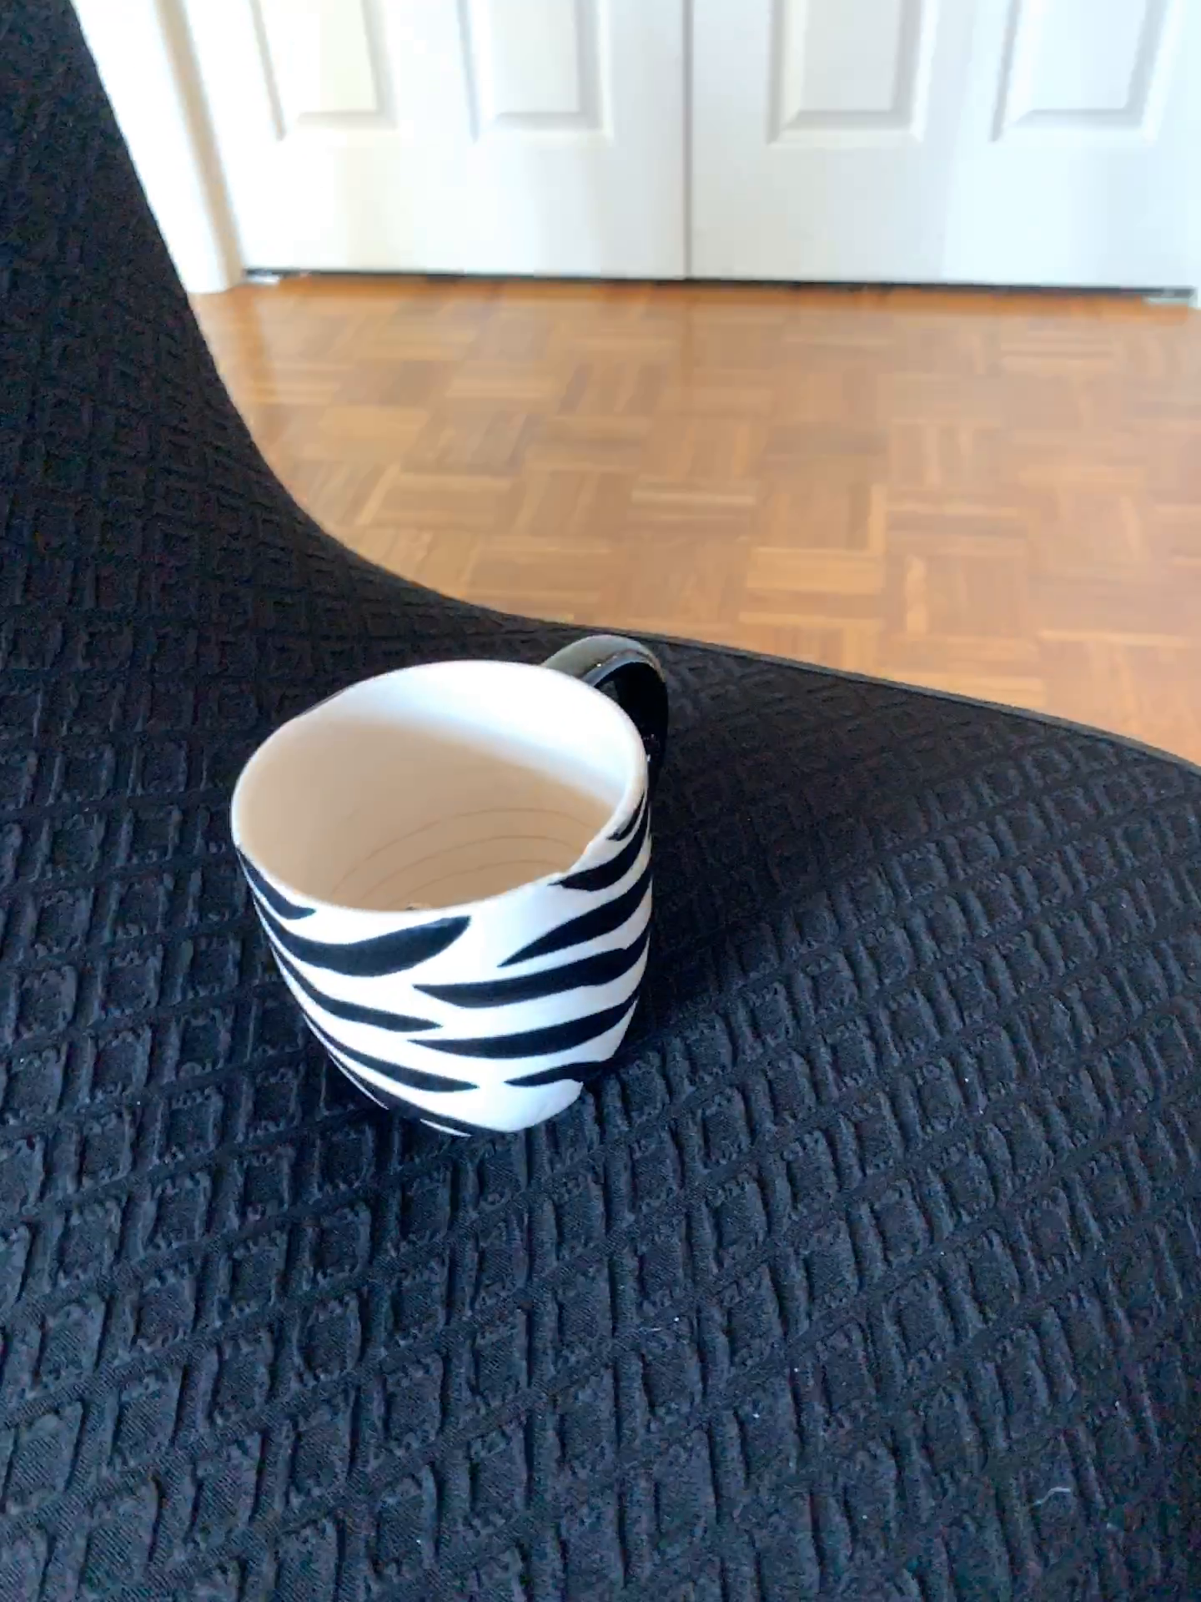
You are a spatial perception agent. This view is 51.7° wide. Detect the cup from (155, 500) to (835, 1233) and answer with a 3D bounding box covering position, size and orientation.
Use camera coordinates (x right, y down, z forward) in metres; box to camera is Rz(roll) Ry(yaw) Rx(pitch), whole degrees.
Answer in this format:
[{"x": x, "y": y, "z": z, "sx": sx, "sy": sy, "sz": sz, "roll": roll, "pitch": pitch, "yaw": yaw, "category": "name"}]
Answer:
[{"x": -0.015, "y": 0.008, "z": 0.303, "sx": 0.080, "sy": 0.090, "sz": 0.140, "roll": 24, "pitch": 50, "yaw": 27, "category": "cup"}]
